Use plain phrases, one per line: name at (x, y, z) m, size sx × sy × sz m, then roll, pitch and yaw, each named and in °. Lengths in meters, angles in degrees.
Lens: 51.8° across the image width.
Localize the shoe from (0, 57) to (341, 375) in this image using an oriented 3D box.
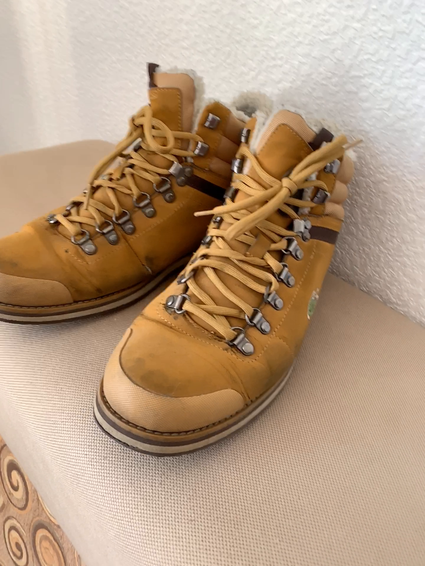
shoe at (-0.051, -0.081, 0.365) m, size 0.301 × 0.149 × 0.120 m, roll -25°, pitch 49°, yaw -33°

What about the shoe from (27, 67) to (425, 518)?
shoe at (0.044, -0.031, 0.313) m, size 0.120 × 0.149 × 0.301 m, roll 24°, pitch 44°, yaw 20°
